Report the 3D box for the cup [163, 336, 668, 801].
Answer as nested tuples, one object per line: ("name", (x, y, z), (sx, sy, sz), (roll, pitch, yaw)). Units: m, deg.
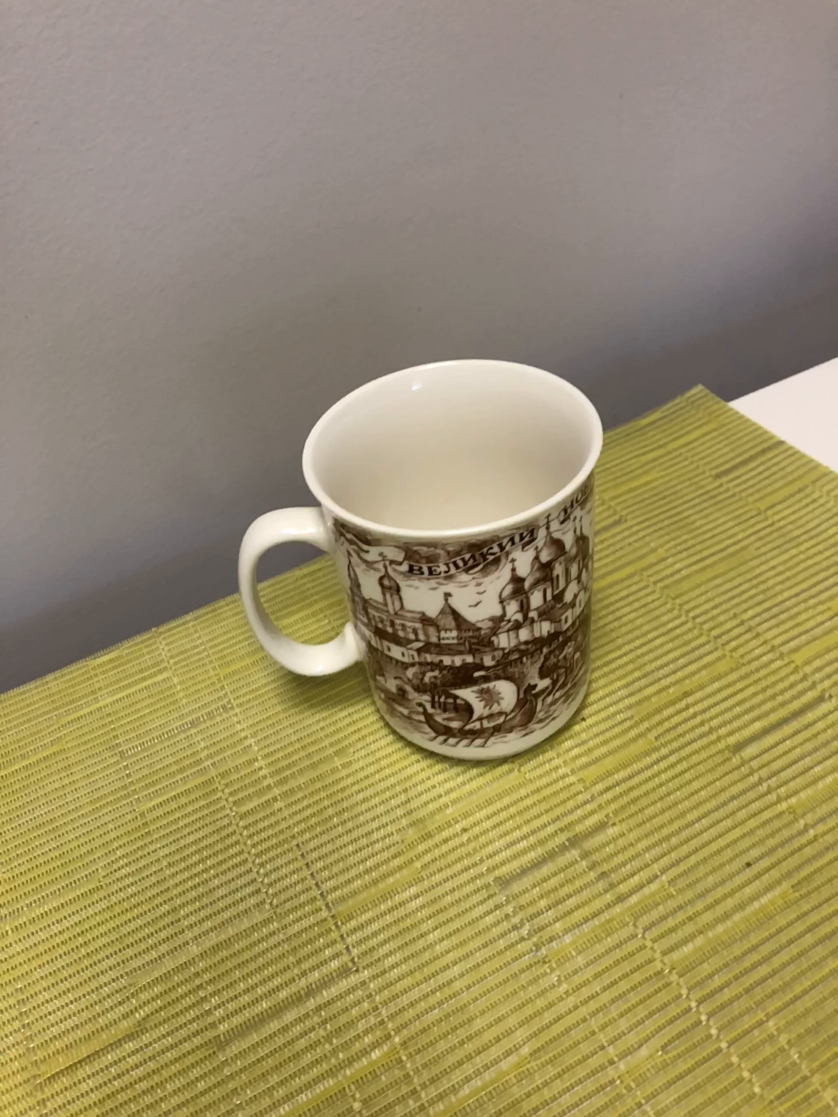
("cup", (0.001, 0.002, 0.293), (0.124, 0.092, 0.095), (-7, 41, 2))
